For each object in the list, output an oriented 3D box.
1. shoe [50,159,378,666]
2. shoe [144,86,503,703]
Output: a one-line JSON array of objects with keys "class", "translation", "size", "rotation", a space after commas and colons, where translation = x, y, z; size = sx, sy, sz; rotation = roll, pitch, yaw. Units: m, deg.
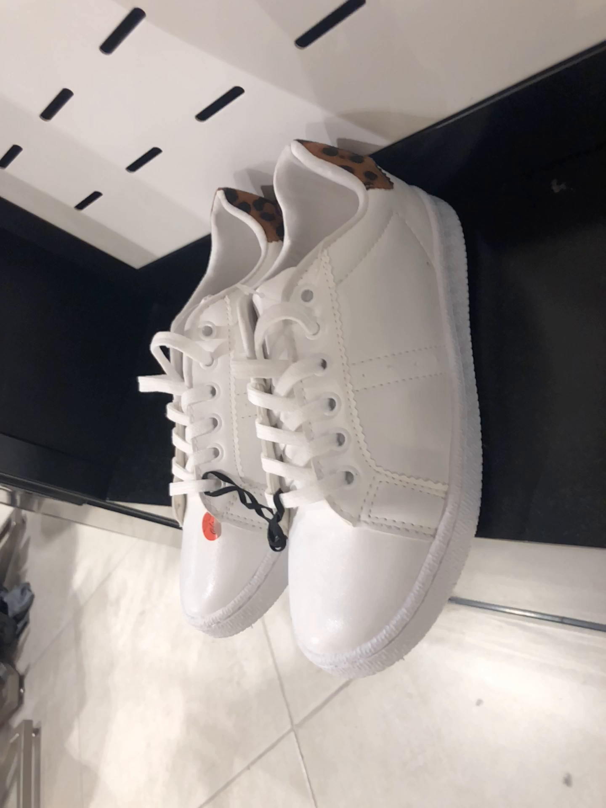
[{"class": "shoe", "translation": [-0.040, 0.009, 0.350], "size": [0.090, 0.099, 0.220], "rotation": [-10, 66, 49]}, {"class": "shoe", "translation": [0.016, 0.002, 0.289], "size": [0.090, 0.099, 0.220], "rotation": [-17, 61, 46]}]
